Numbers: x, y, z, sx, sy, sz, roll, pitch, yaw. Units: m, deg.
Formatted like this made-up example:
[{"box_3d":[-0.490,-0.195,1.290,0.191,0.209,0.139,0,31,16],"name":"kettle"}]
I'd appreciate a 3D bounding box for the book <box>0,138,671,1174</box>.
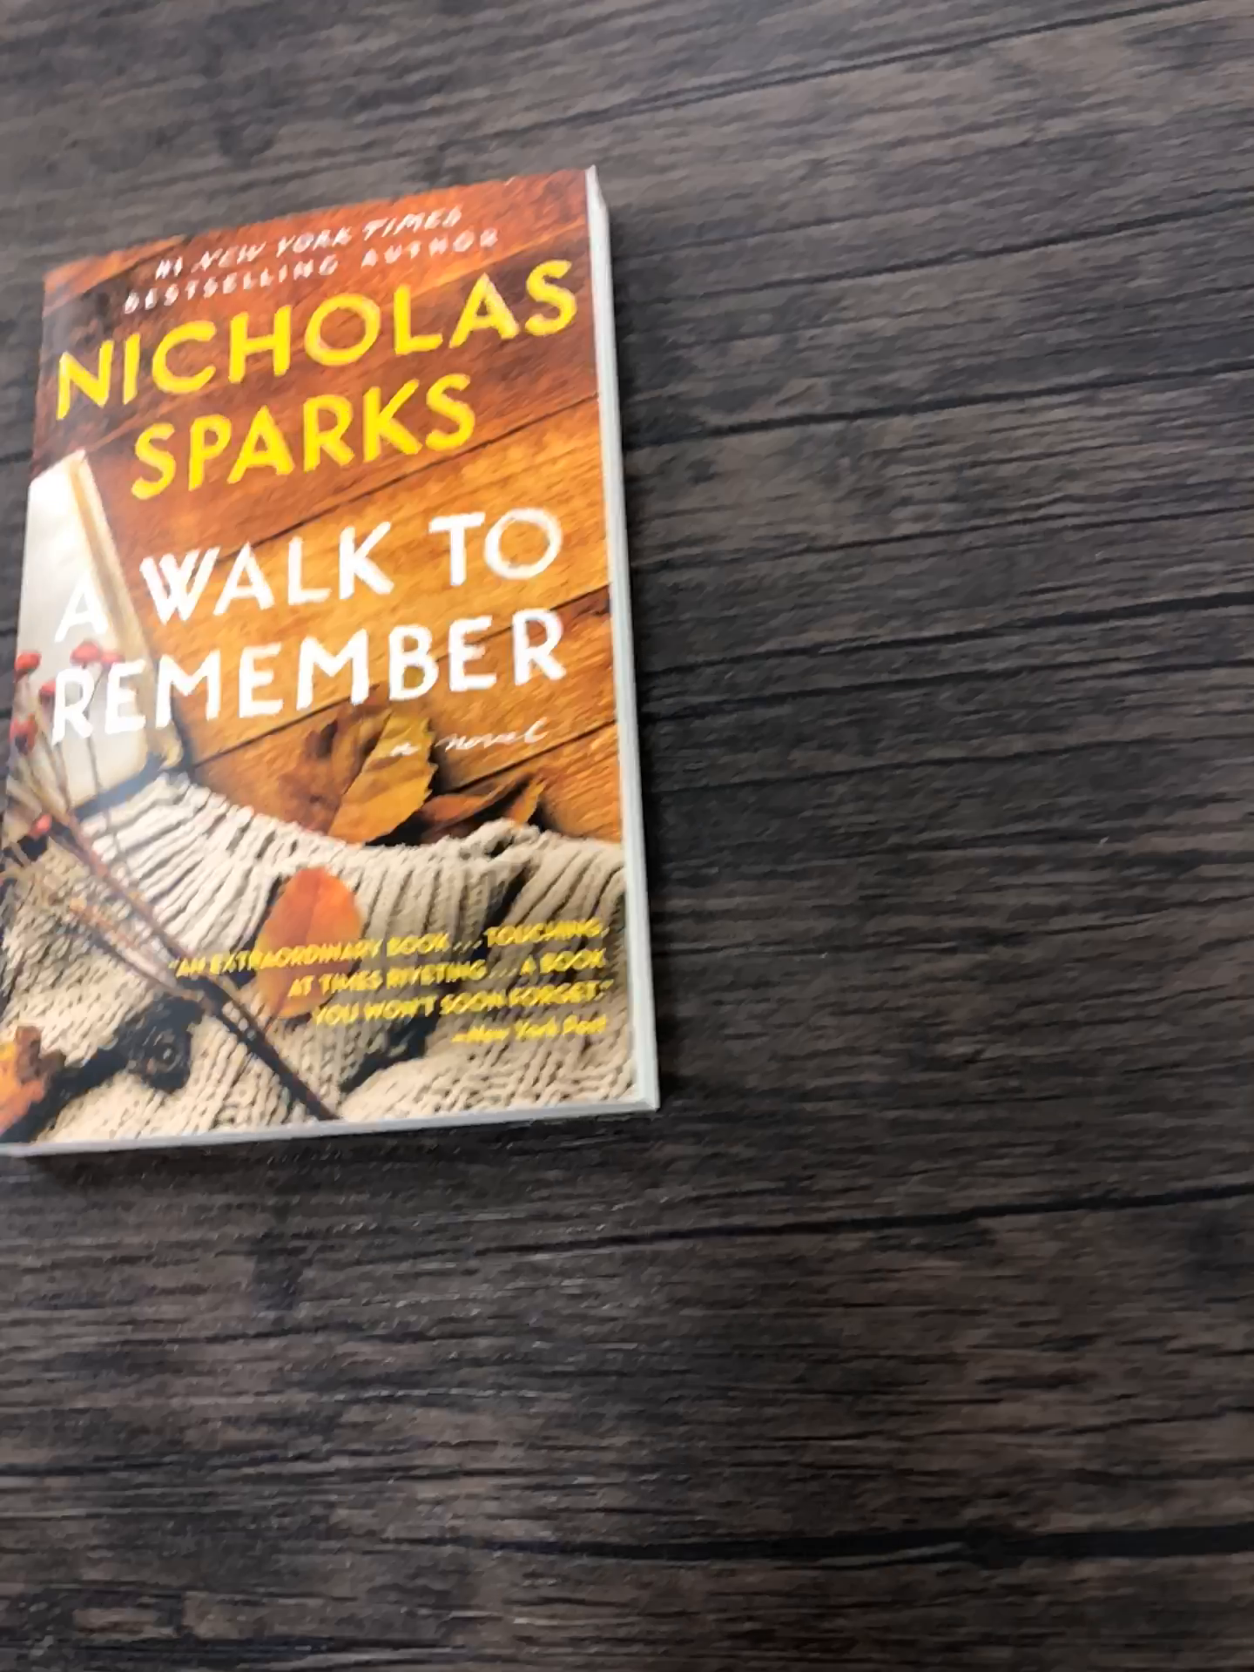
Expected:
[{"box_3d":[-0.064,-0.039,0.281,0.132,0.020,0.200,-6,73,9],"name":"book"}]
